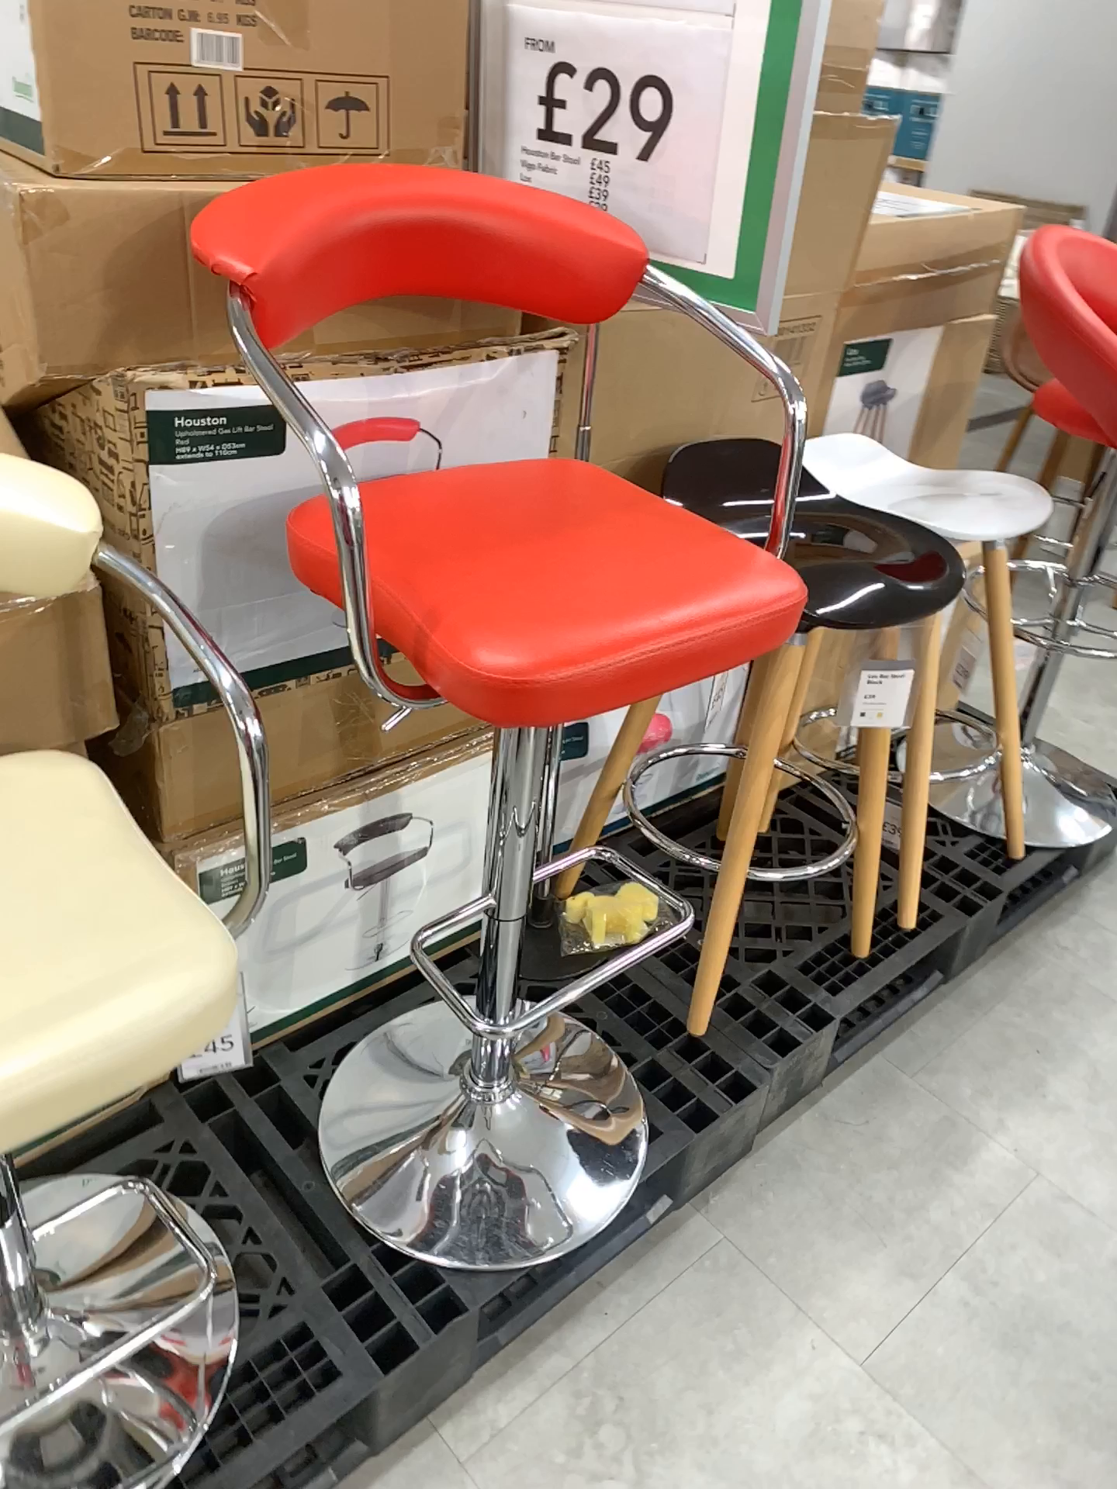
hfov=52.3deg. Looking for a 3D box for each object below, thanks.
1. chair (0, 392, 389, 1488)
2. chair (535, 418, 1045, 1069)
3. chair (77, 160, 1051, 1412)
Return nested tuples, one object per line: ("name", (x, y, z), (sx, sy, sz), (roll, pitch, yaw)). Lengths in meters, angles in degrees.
("chair", (-0.476, 0.232, 0.903), (0.497, 0.838, 0.461), (-22, 41, -38))
("chair", (0.282, -0.019, 1.580), (0.427, 0.709, 0.390), (-21, 41, -36))
("chair", (-0.037, 0.007, 1.121), (0.528, 0.977, 0.531), (-22, 41, -38))
